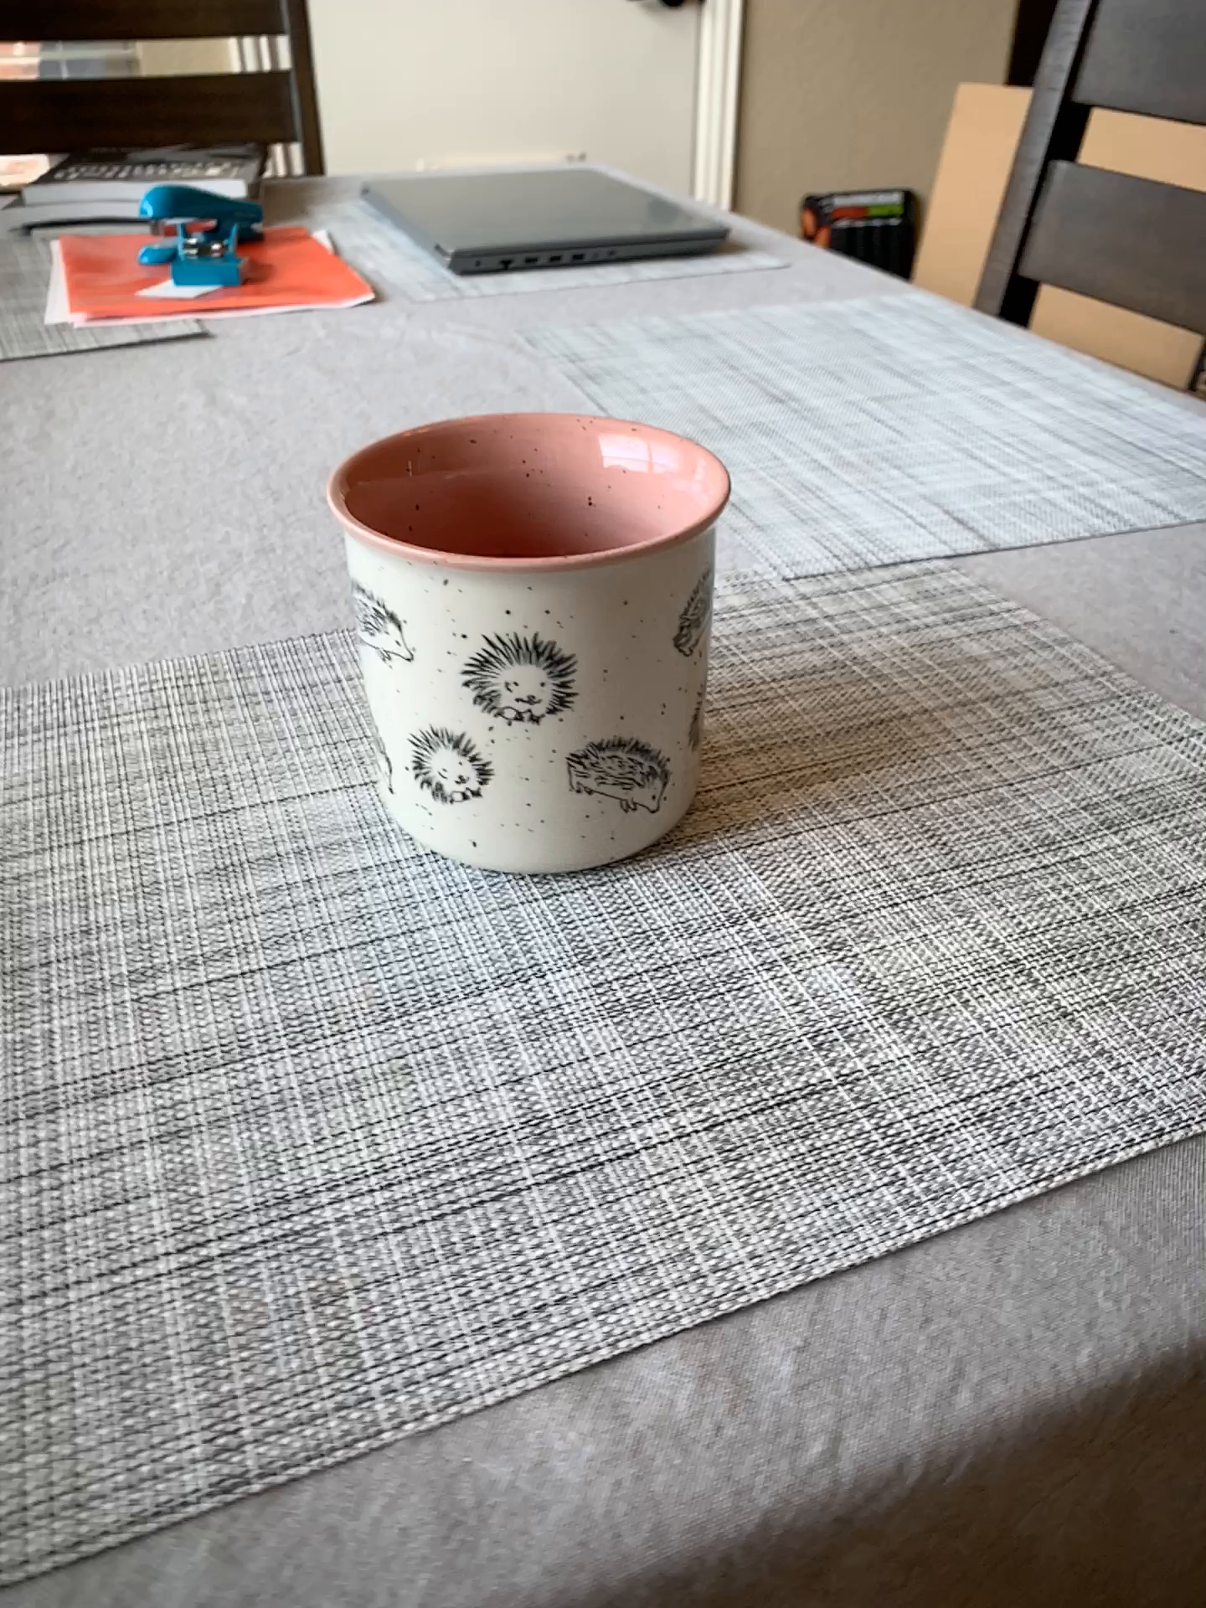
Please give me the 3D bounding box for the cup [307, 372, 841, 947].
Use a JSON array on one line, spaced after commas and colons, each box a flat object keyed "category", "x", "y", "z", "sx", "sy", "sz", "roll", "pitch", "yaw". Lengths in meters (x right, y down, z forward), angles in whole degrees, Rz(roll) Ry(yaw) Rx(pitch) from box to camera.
[{"category": "cup", "x": -0.018, "y": -0.055, "z": 0.385, "sx": 0.120, "sy": 0.106, "sz": 0.151, "roll": -8, "pitch": 36, "yaw": -12}]
